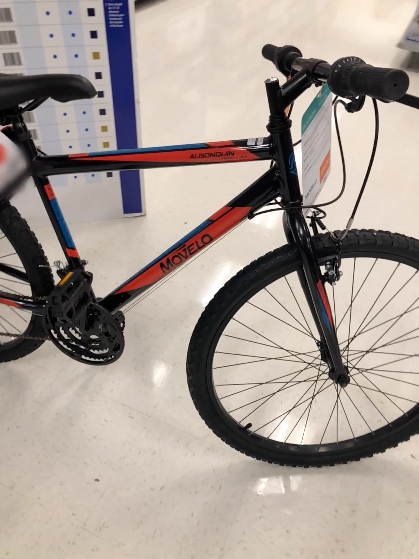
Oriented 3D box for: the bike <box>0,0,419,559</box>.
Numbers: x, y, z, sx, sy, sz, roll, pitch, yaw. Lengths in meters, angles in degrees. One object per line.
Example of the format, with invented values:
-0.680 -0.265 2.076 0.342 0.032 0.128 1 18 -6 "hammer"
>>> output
-0.027 -0.052 0.936 1.285 0.942 0.562 11 44 10 "bike"
